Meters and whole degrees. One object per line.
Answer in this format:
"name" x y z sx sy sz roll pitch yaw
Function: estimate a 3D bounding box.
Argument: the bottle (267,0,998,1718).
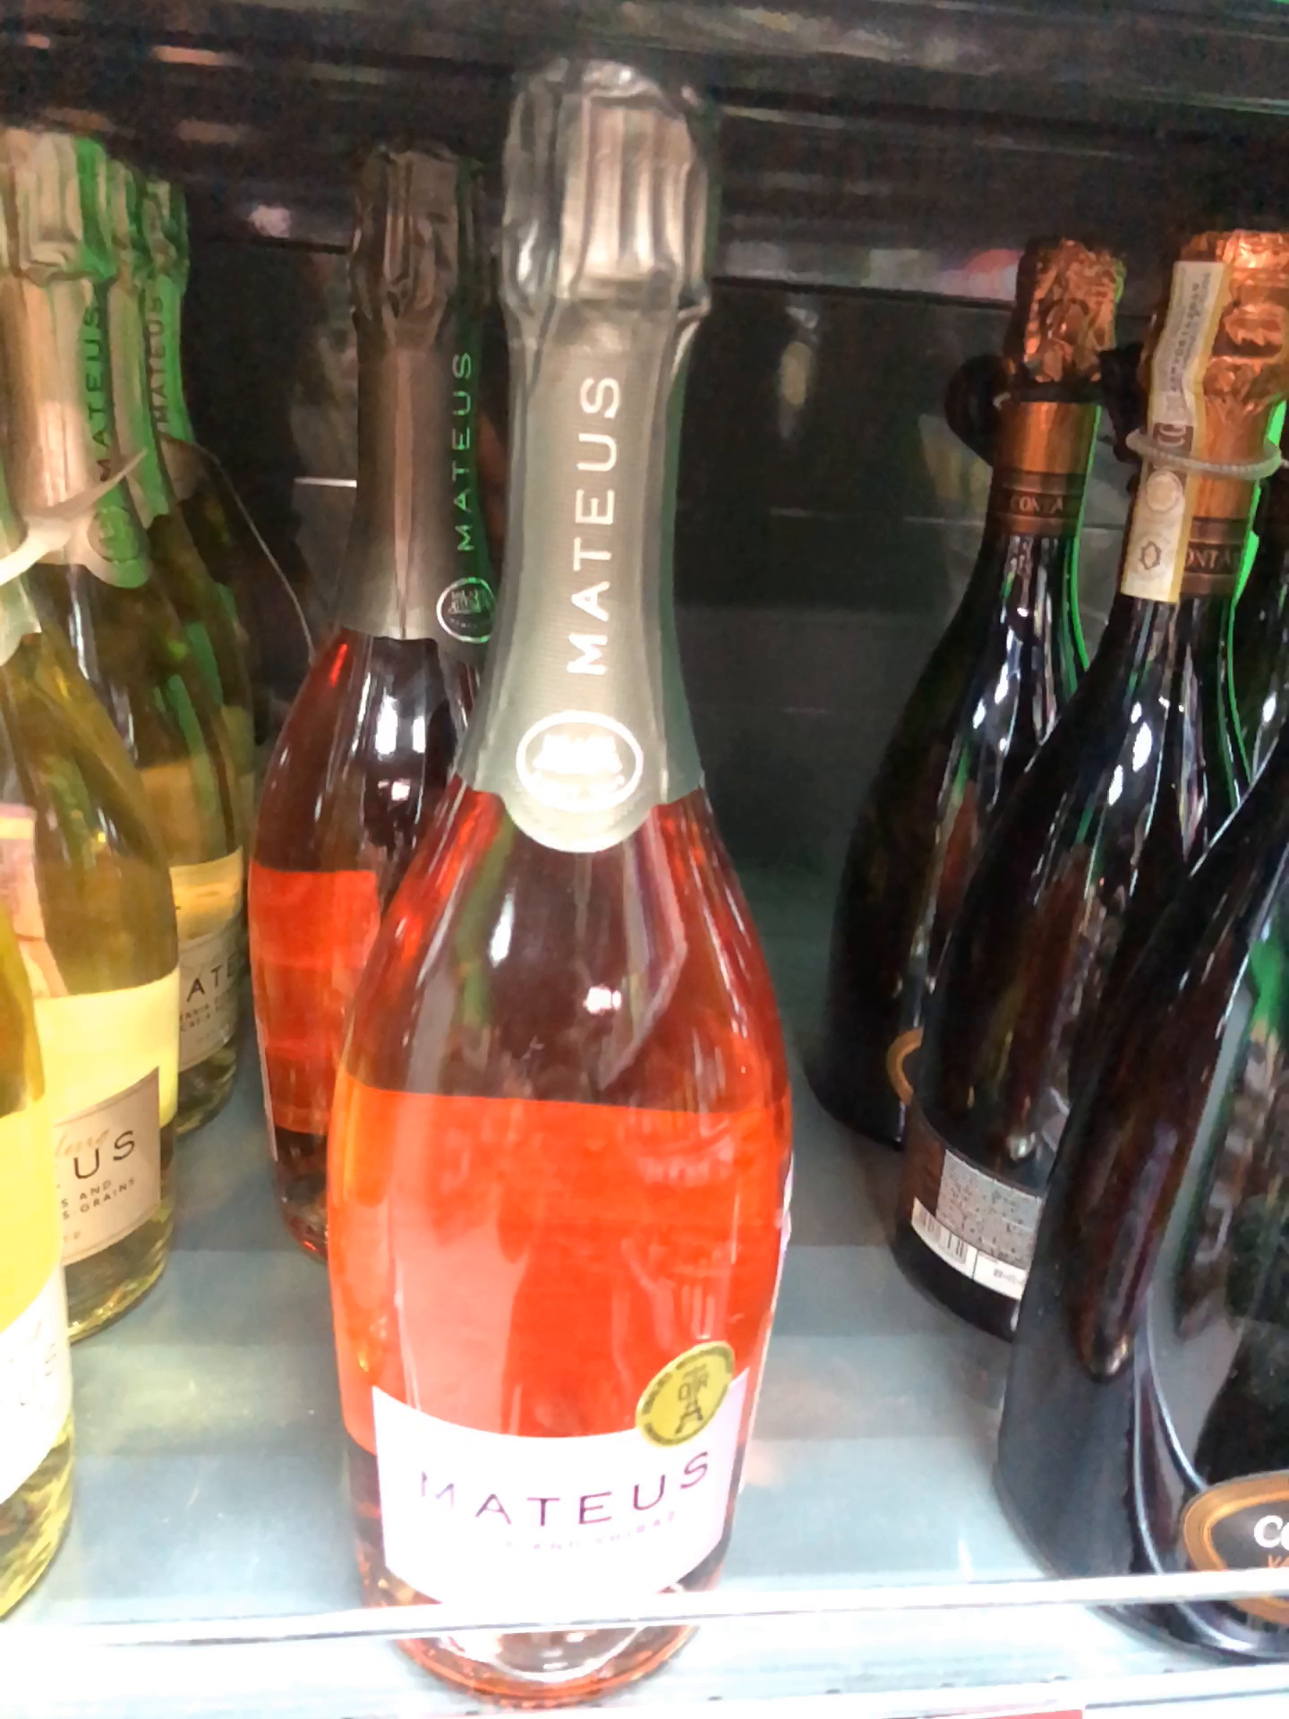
"bottle" -0.017 0.016 0.285 0.100 0.319 0.090 2 19 -8
